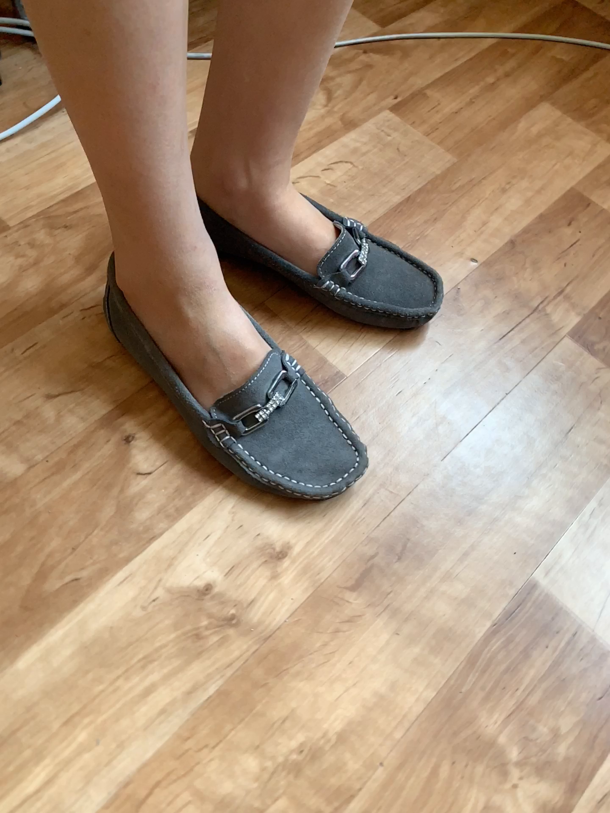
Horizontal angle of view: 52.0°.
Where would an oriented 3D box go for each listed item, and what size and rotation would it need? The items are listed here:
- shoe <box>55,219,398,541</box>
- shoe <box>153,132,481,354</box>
[{"bbox_3d":[-0.059,-0.024,0.453,0.240,0.060,0.090,40,68,15],"label":"shoe"},{"bbox_3d":[0.011,-0.136,0.514,0.240,0.060,0.100,18,60,3],"label":"shoe"}]
